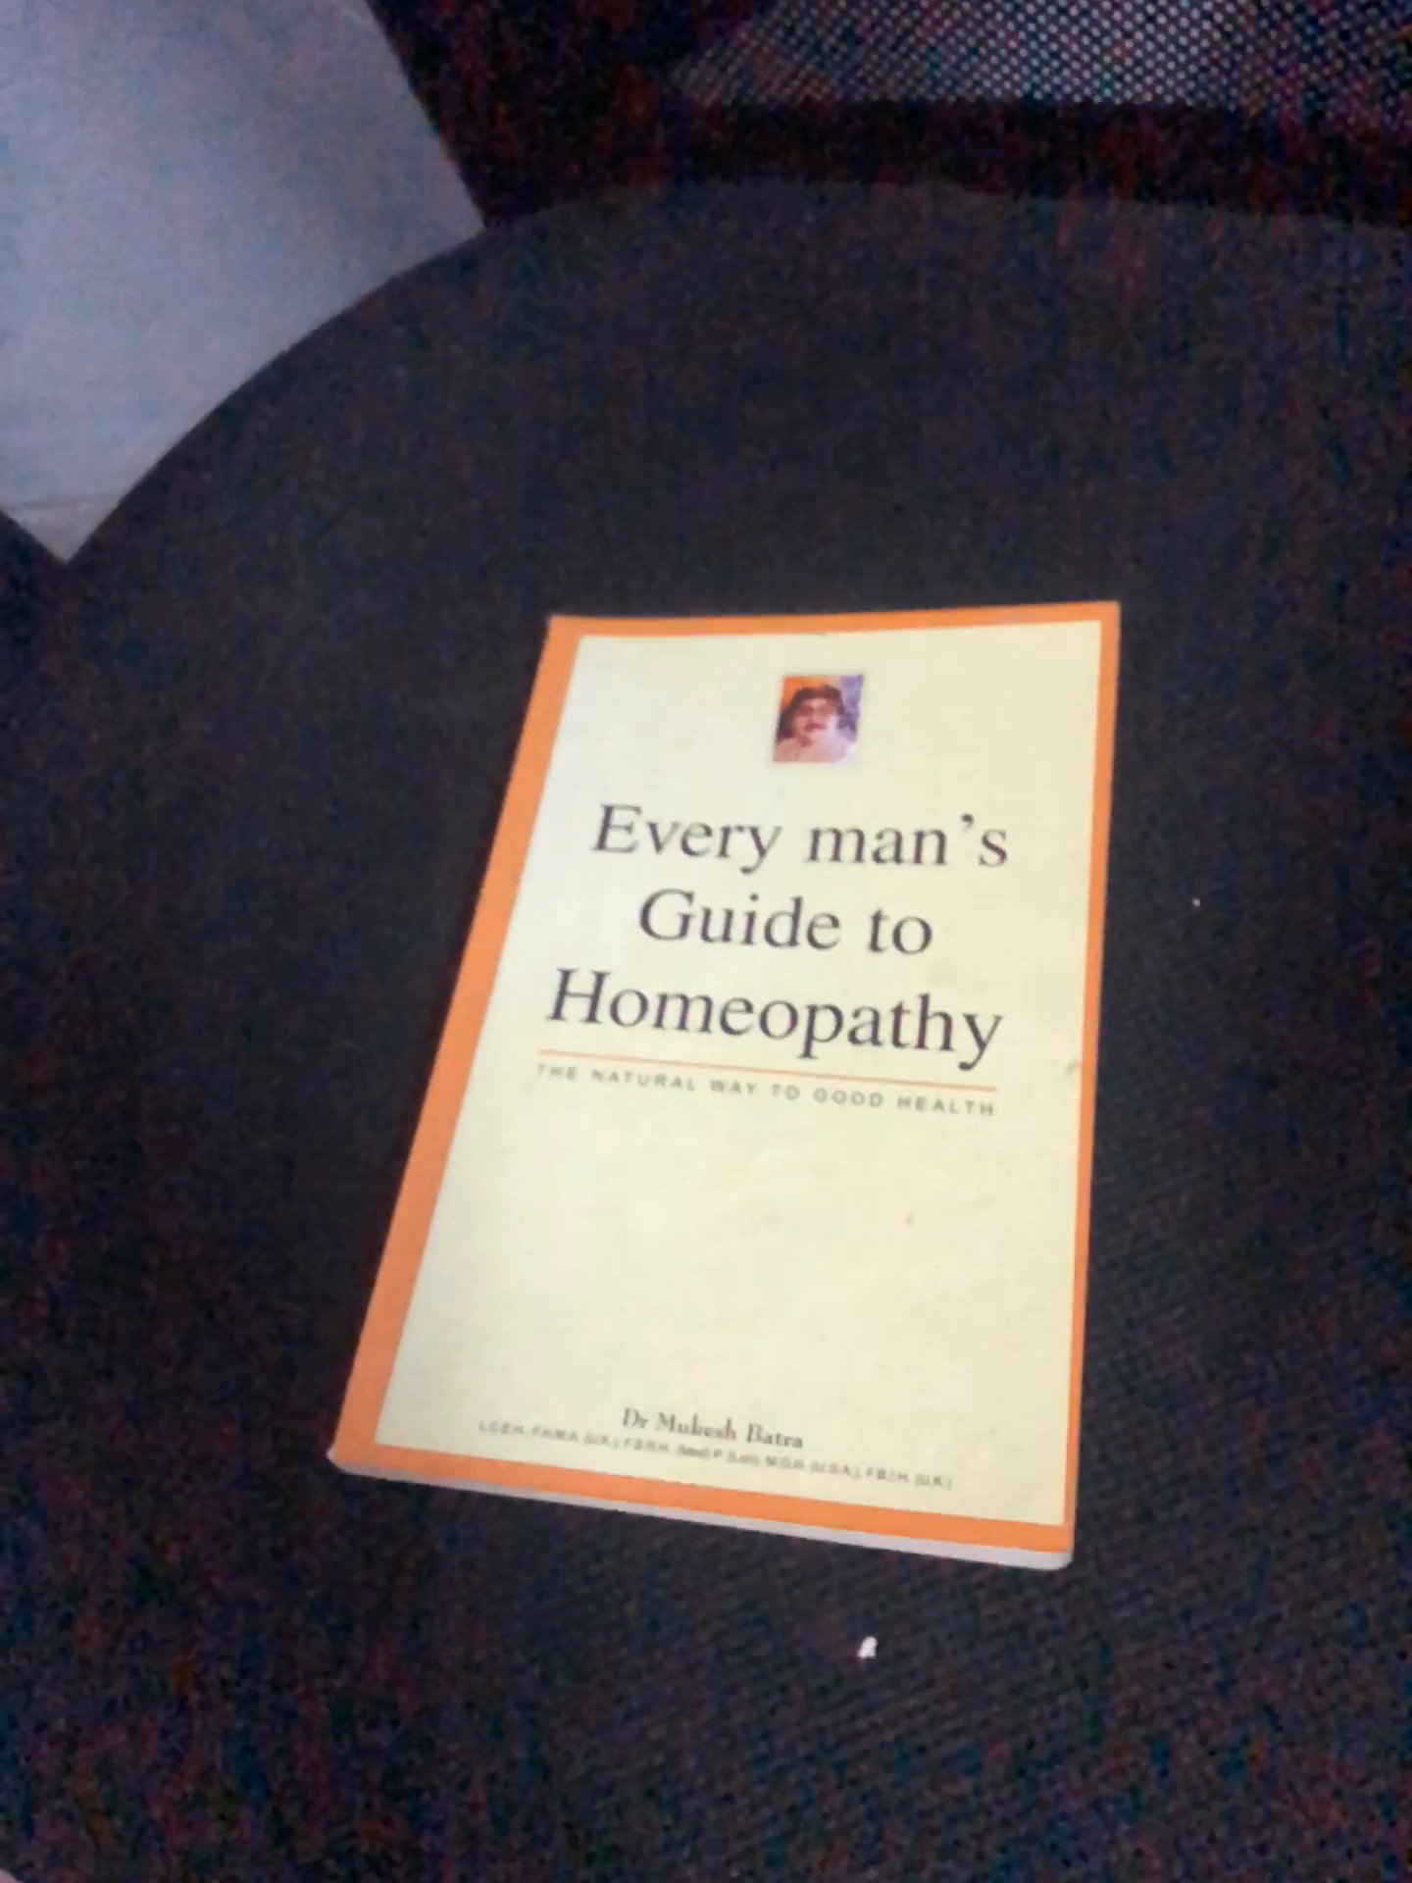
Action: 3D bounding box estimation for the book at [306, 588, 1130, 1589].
[{"bbox_3d":[0.013,0.014,0.334,0.140,0.026,0.207,3,62,15],"label":"book"}]
